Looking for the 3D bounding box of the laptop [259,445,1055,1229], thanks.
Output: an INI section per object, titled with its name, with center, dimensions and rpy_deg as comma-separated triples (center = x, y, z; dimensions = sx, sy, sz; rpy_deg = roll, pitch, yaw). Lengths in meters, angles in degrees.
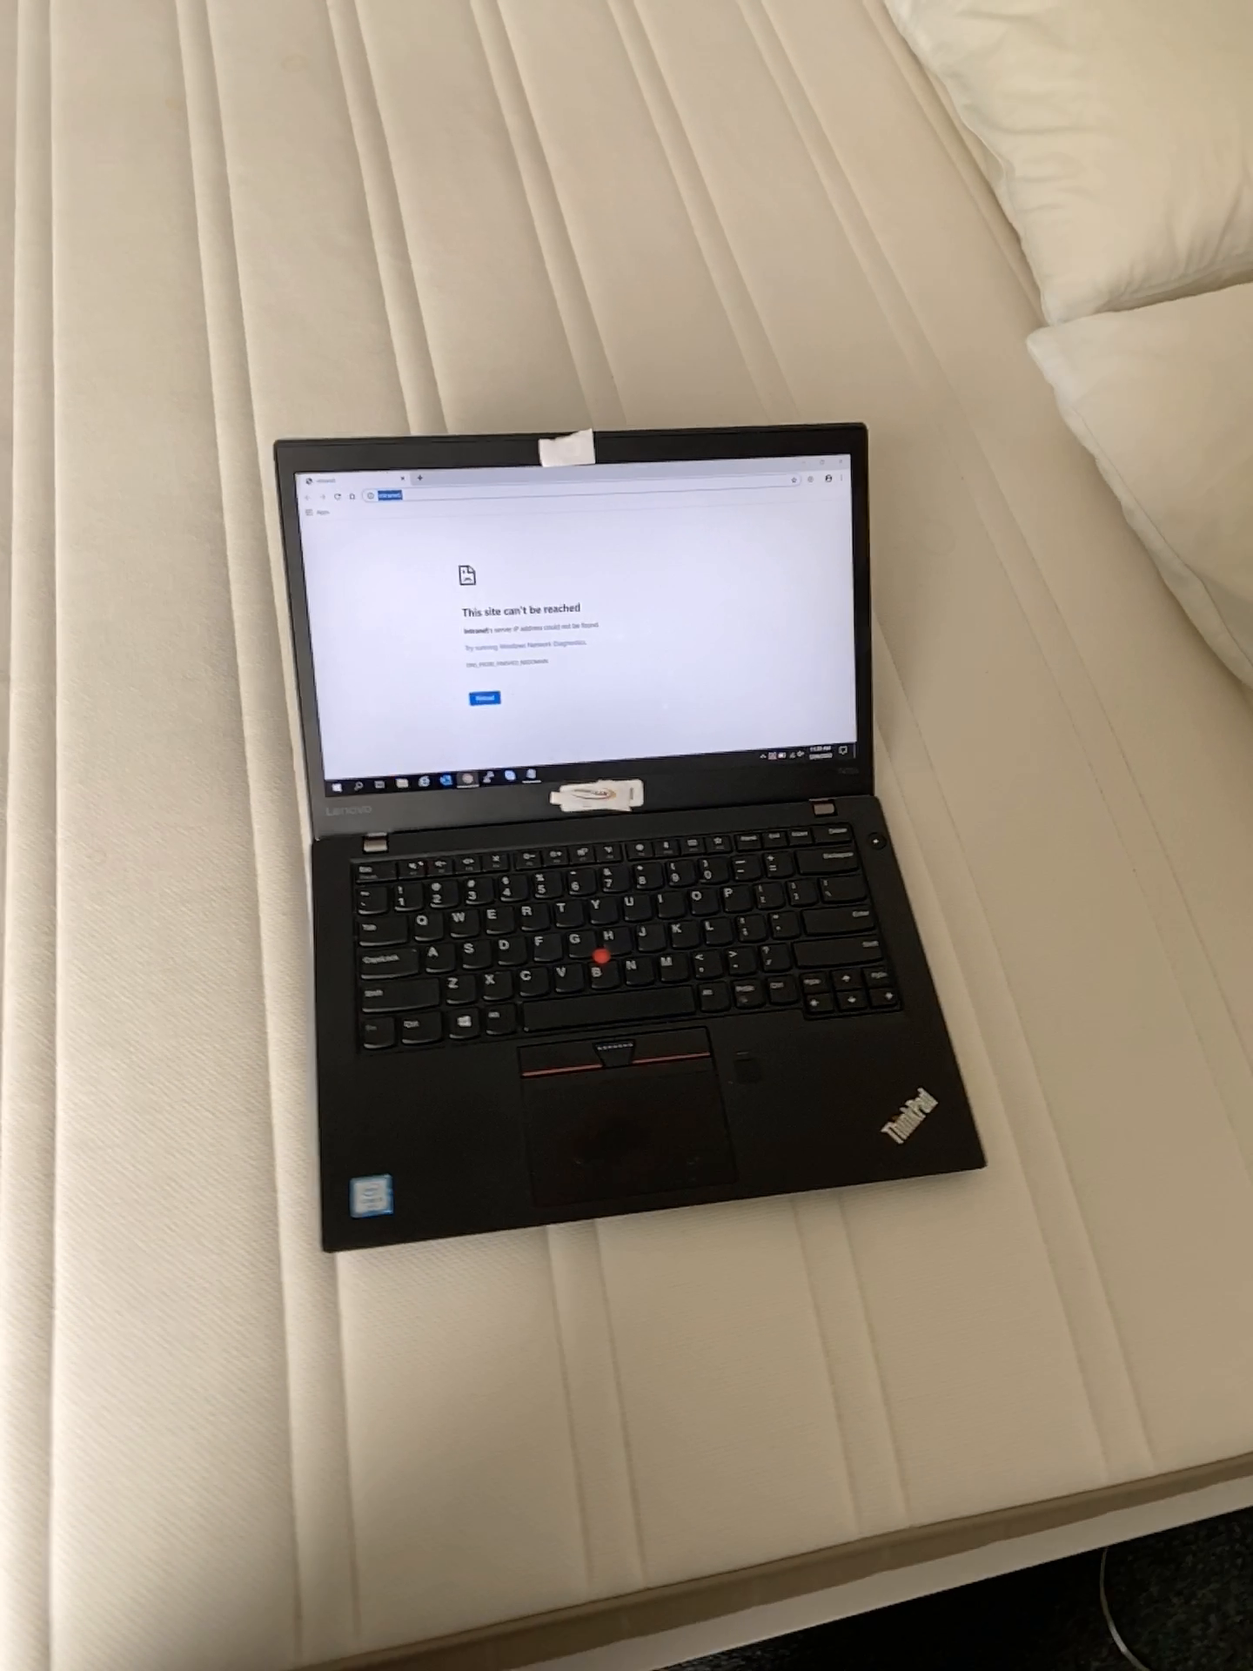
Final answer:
[laptop]
center = -0.012, -0.023, 0.659
dimensions = 0.320, 0.120, 0.382
rpy_deg = -4, 59, -11
